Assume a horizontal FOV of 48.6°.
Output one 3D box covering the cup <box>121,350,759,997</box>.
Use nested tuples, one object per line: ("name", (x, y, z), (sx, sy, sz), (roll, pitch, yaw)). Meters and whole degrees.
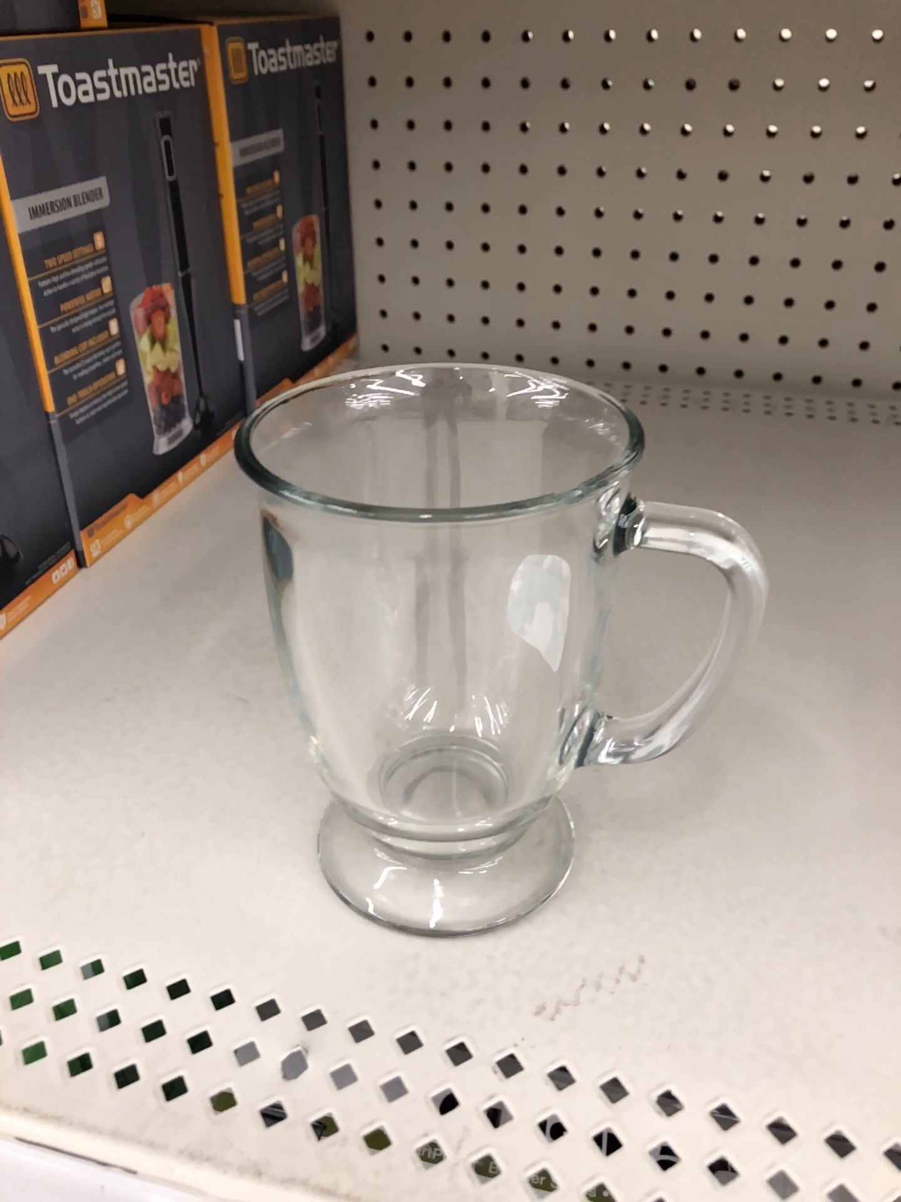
("cup", (0.008, 0.011, 0.286), (0.138, 0.128, 0.110), (7, 31, 14))
